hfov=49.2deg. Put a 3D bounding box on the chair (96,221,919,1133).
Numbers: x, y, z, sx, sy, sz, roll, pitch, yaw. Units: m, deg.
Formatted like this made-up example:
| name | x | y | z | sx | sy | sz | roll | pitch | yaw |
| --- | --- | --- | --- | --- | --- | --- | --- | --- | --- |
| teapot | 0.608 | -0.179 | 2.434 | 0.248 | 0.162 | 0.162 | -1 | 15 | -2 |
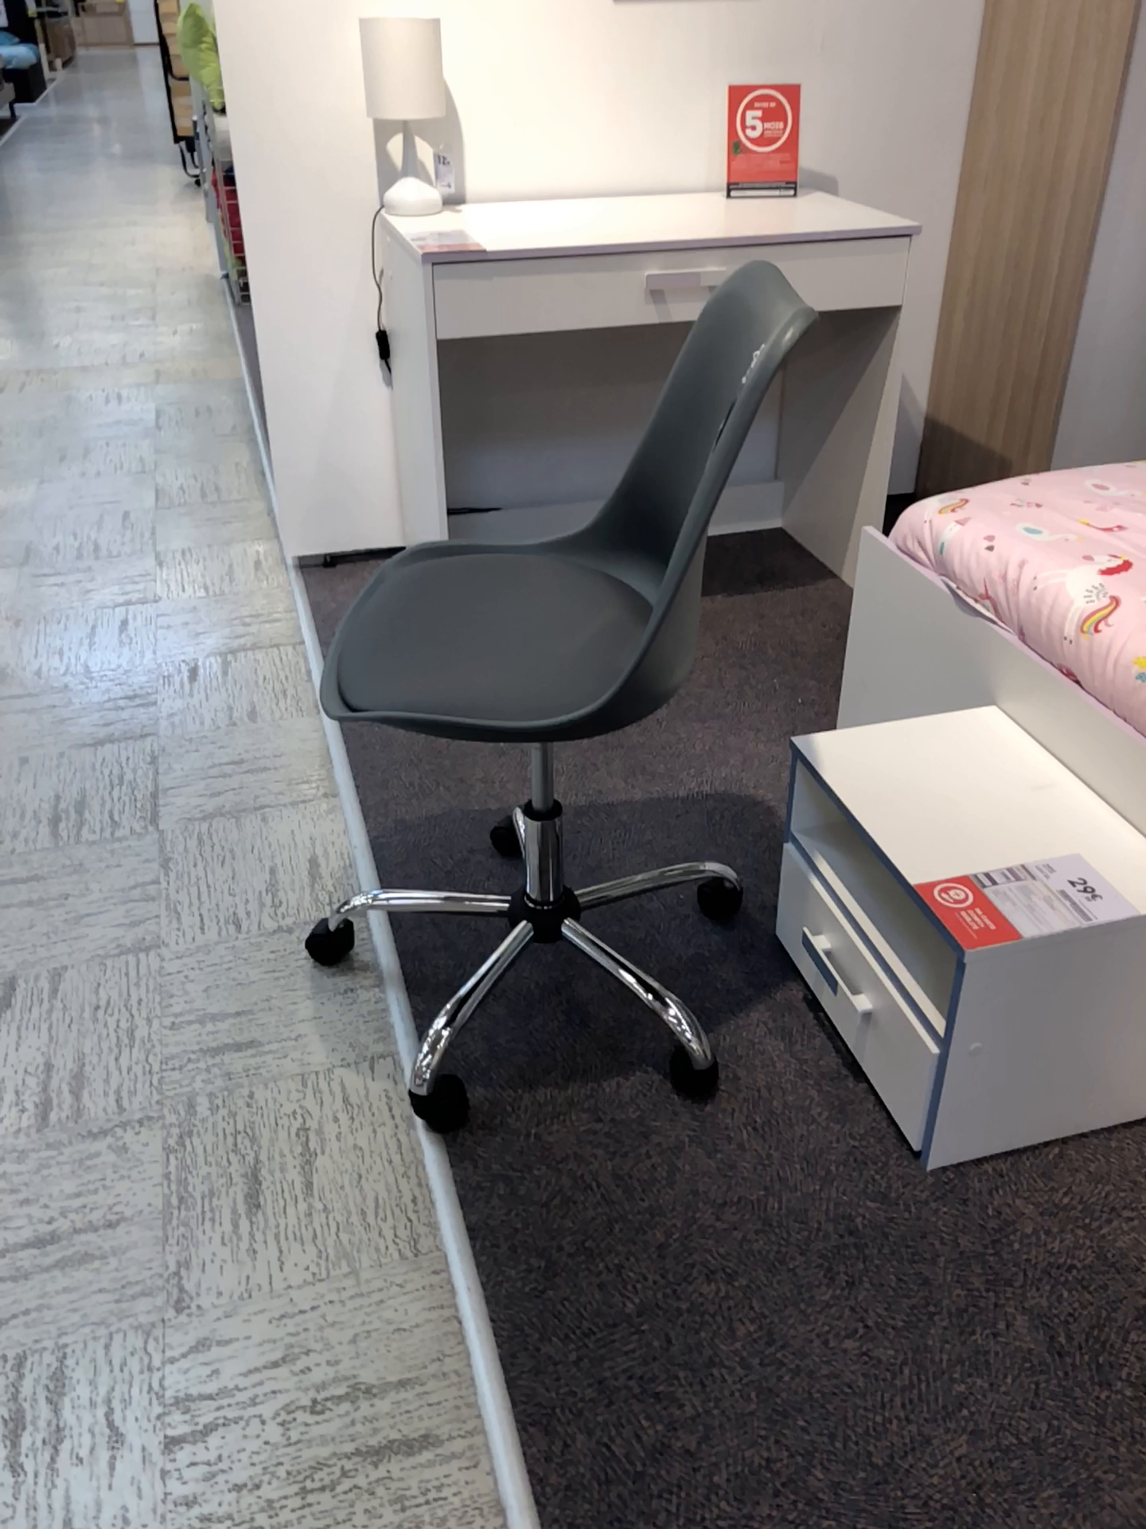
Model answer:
| name | x | y | z | sx | sy | sz | roll | pitch | yaw |
| --- | --- | --- | --- | --- | --- | --- | --- | --- | --- |
| chair | -0.058 | -0.120 | 1.432 | 0.630 | 0.835 | 0.604 | -2 | 32 | -2 |
